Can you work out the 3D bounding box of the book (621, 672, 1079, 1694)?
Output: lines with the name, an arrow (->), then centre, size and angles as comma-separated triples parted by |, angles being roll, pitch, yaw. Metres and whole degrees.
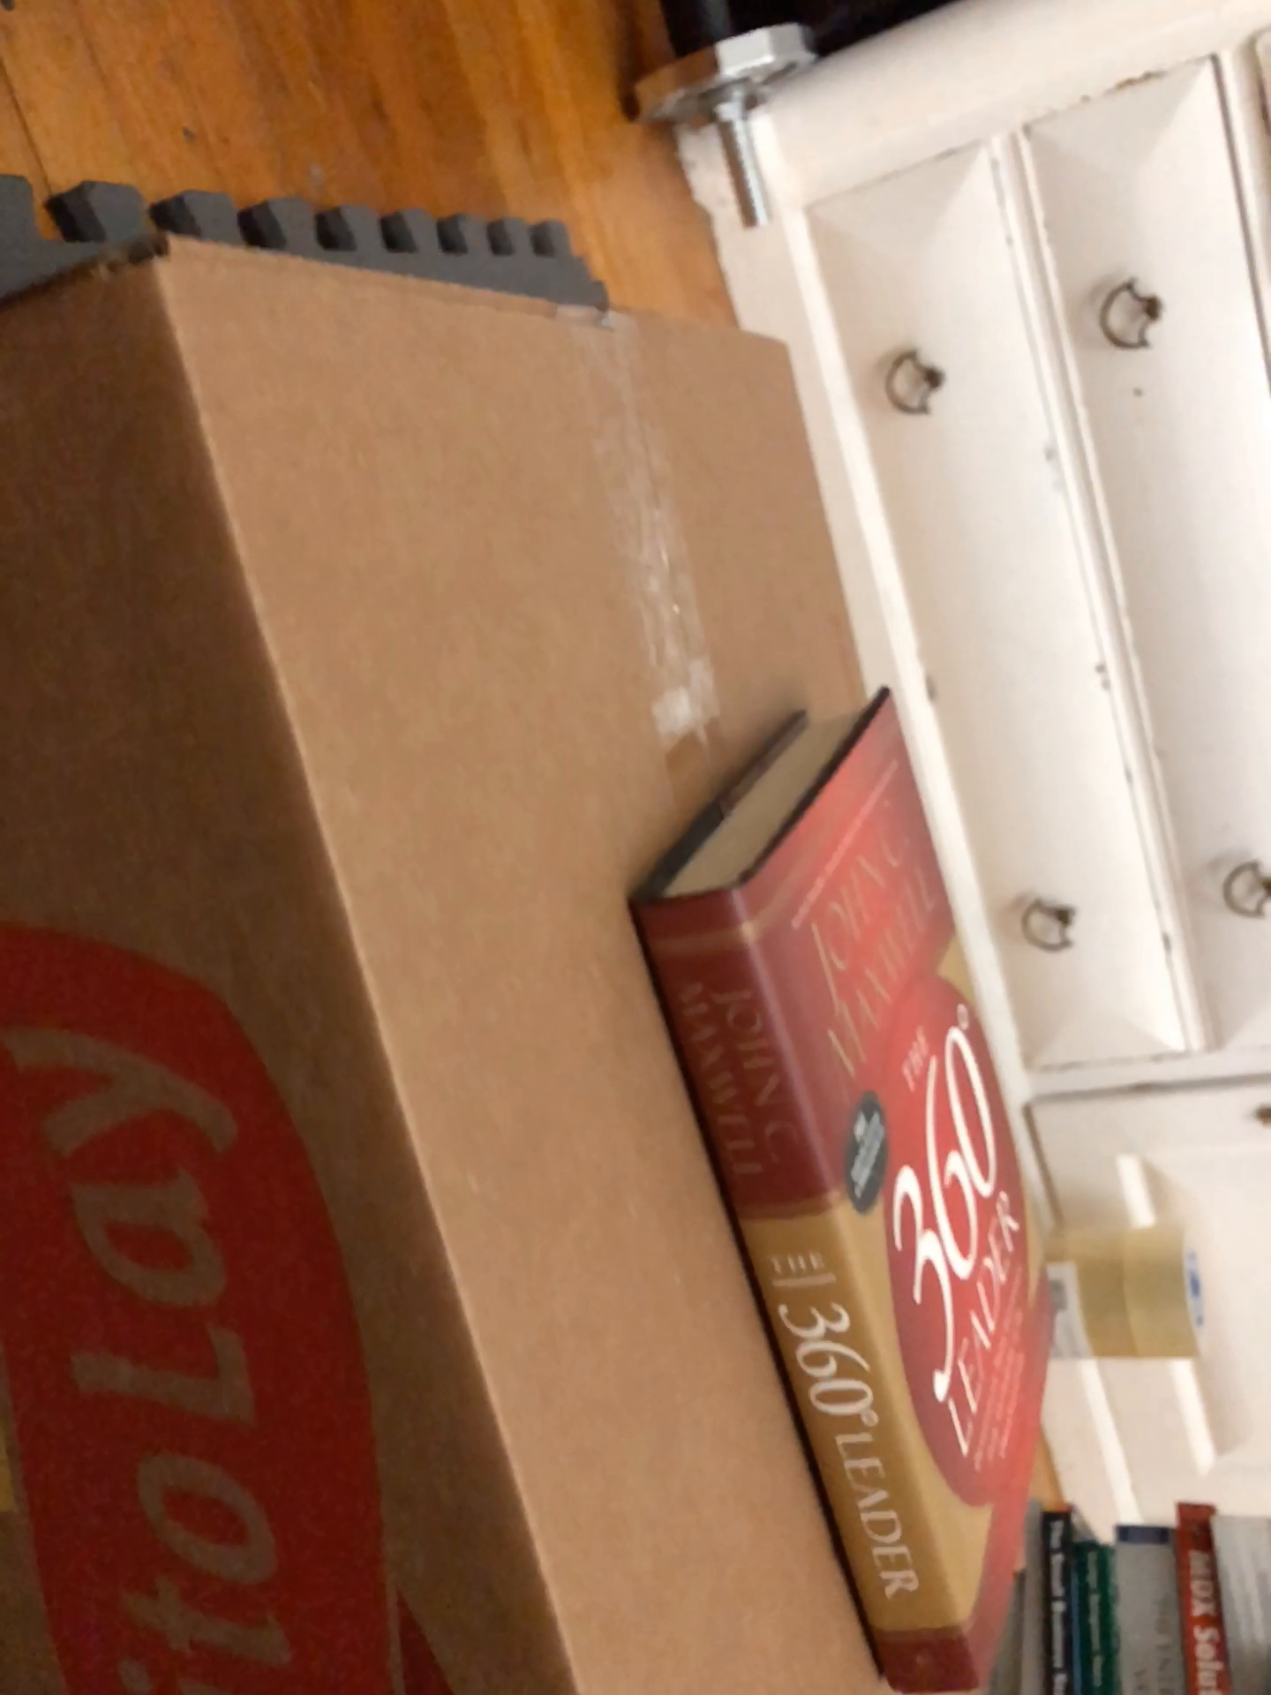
book -> 0.079, 0.089, 0.414 | 0.181, 0.030, 0.240 | -45, 120, -59
